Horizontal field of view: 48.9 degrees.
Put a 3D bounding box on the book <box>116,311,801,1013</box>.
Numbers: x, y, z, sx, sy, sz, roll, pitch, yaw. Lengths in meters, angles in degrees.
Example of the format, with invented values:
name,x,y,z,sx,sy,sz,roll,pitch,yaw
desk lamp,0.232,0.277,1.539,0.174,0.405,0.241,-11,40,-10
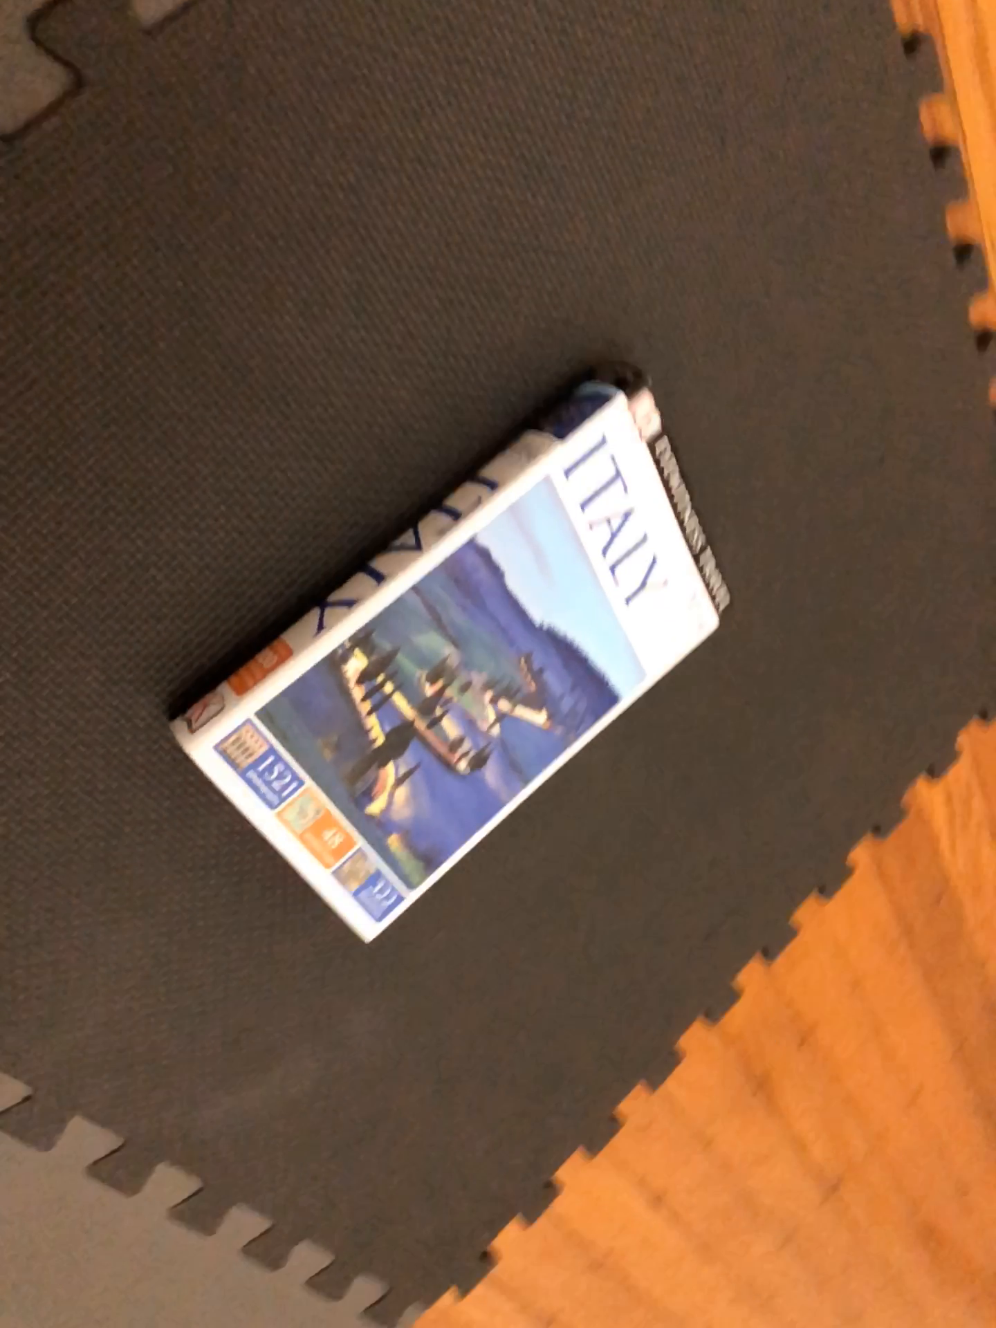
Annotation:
name,x,y,z,sx,sy,sz,roll,pitch,yaw
book,0.002,0.002,0.445,0.250,0.040,0.161,-42,128,-11
